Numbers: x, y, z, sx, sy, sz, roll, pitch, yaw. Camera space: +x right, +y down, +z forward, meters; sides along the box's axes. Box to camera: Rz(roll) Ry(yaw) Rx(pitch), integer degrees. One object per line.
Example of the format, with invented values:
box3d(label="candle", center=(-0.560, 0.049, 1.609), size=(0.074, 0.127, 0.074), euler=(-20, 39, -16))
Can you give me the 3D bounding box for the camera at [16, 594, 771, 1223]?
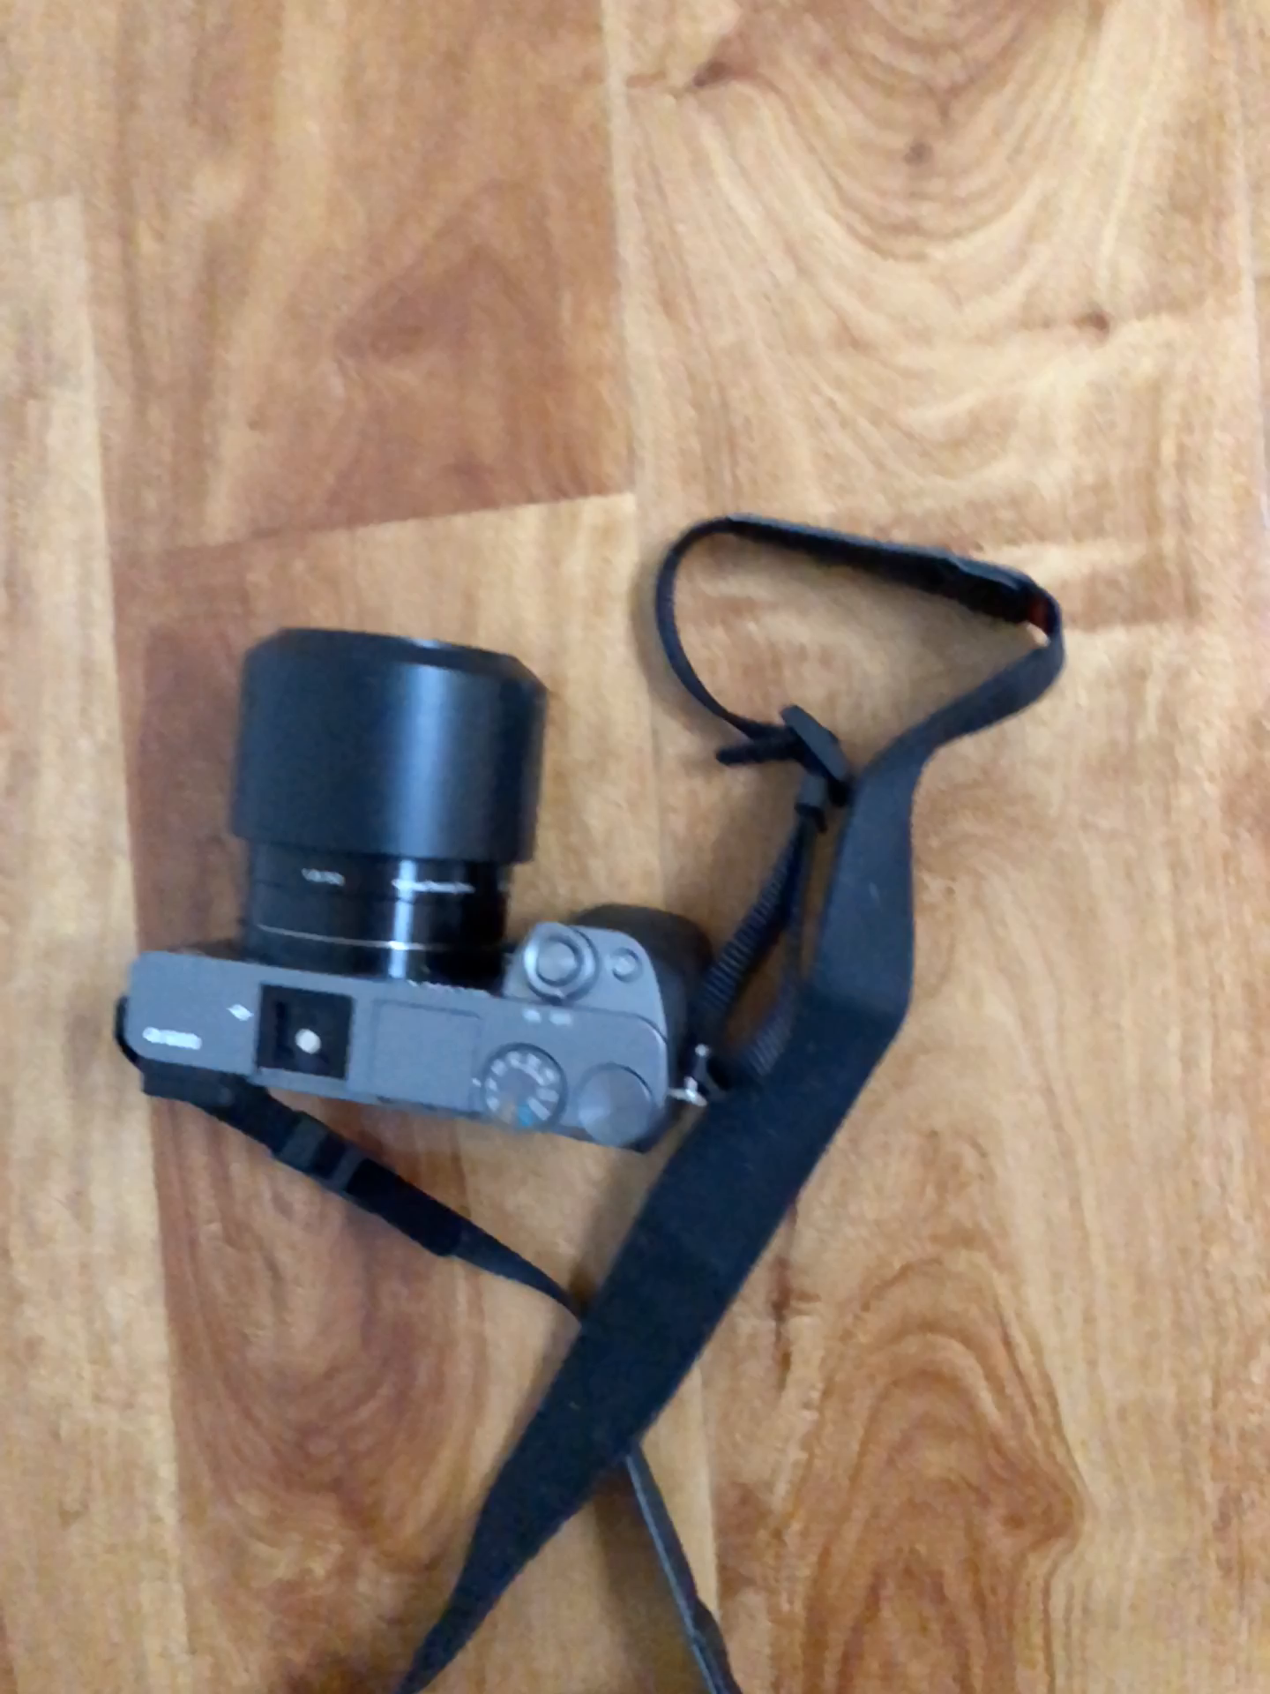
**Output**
box3d(label="camera", center=(-0.049, 0.009, 0.322), size=(0.140, 0.080, 0.110), euler=(7, 91, 12))
